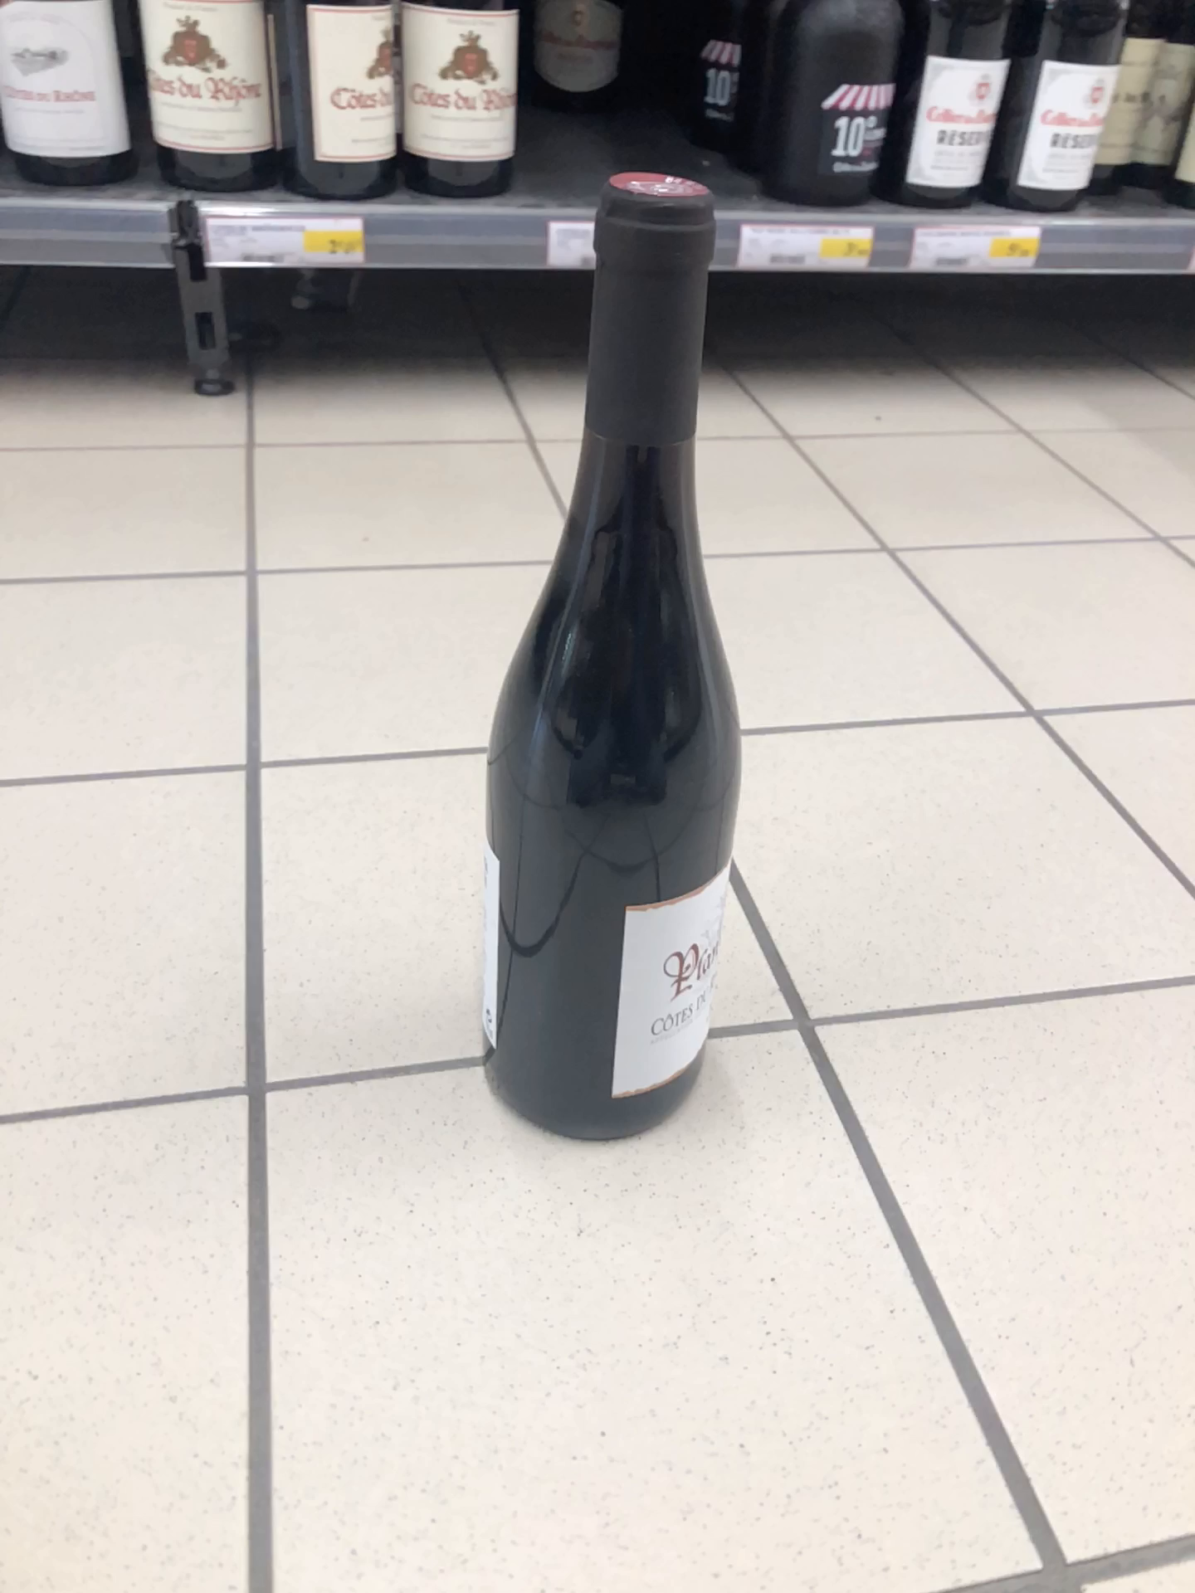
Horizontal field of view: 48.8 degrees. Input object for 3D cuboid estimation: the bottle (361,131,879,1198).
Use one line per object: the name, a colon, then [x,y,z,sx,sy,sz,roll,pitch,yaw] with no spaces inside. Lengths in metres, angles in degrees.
bottle: [0.002,-0.027,0.393,0.100,0.288,0.101,3,34,-2]
